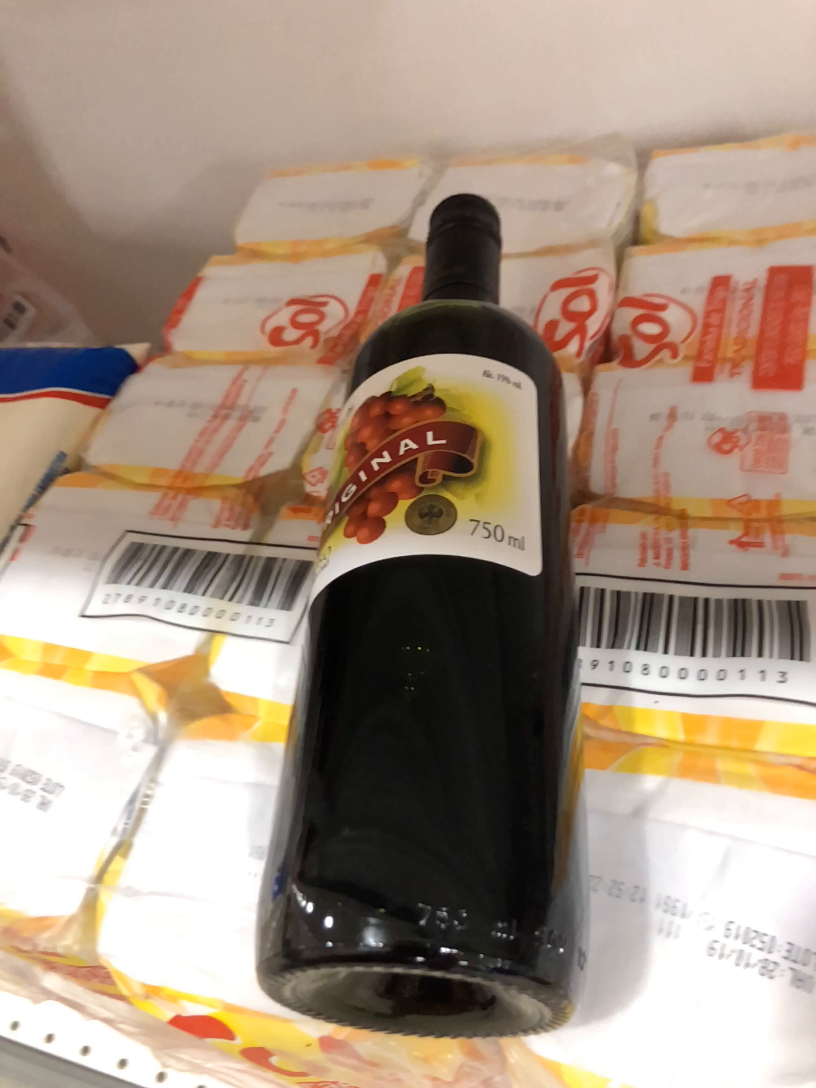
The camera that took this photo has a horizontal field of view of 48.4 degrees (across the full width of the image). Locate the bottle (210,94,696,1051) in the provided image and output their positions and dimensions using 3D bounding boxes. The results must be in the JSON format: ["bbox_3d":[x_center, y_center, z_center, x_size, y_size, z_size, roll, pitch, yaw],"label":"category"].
[{"bbox_3d":[0.024,-0.023,0.299,0.080,0.070,0.322,-22,43,31],"label":"bottle"}]
